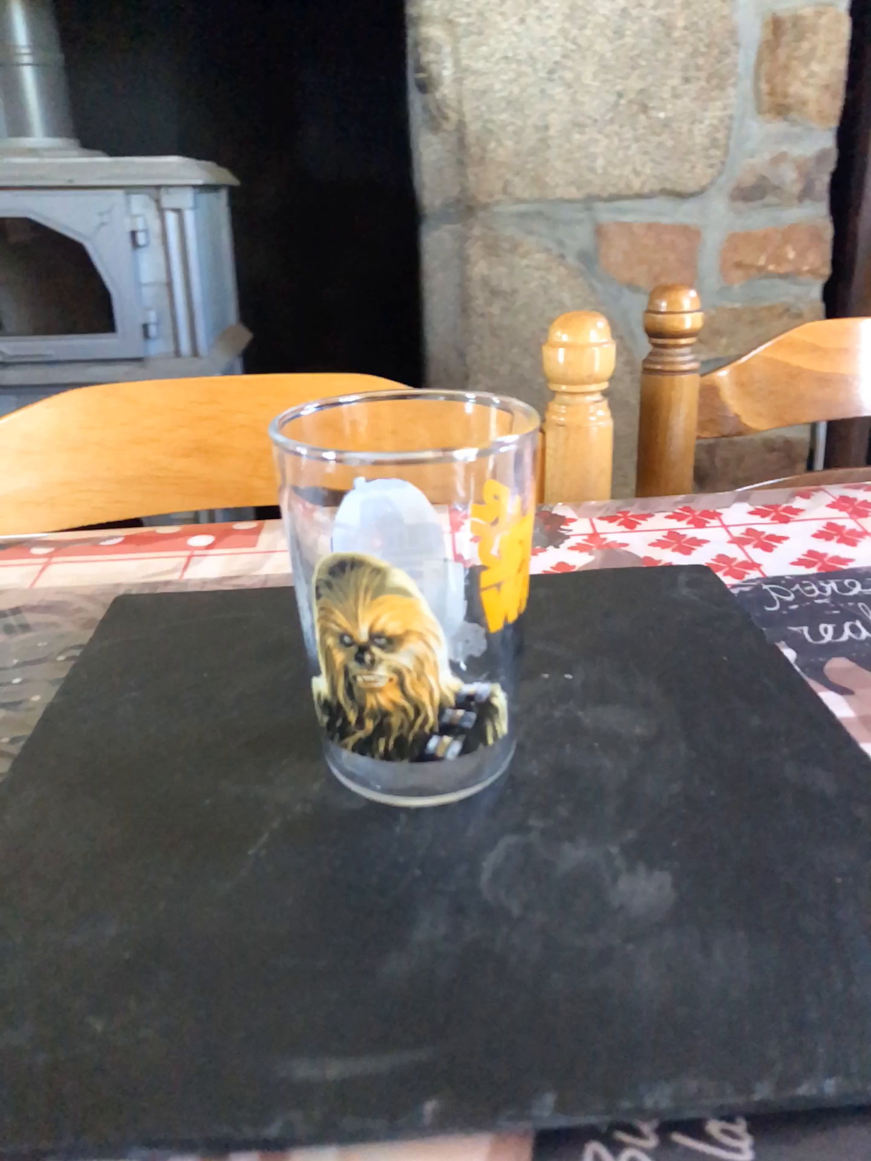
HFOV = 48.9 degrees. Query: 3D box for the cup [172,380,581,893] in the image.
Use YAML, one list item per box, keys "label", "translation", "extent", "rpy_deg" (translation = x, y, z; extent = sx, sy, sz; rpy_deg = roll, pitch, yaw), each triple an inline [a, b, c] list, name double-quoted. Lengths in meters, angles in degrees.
- label: "cup"
  translation: [-0.010, 0.007, 0.243]
  extent: [0.070, 0.100, 0.070]
  rpy_deg: [-1, 22, 1]
